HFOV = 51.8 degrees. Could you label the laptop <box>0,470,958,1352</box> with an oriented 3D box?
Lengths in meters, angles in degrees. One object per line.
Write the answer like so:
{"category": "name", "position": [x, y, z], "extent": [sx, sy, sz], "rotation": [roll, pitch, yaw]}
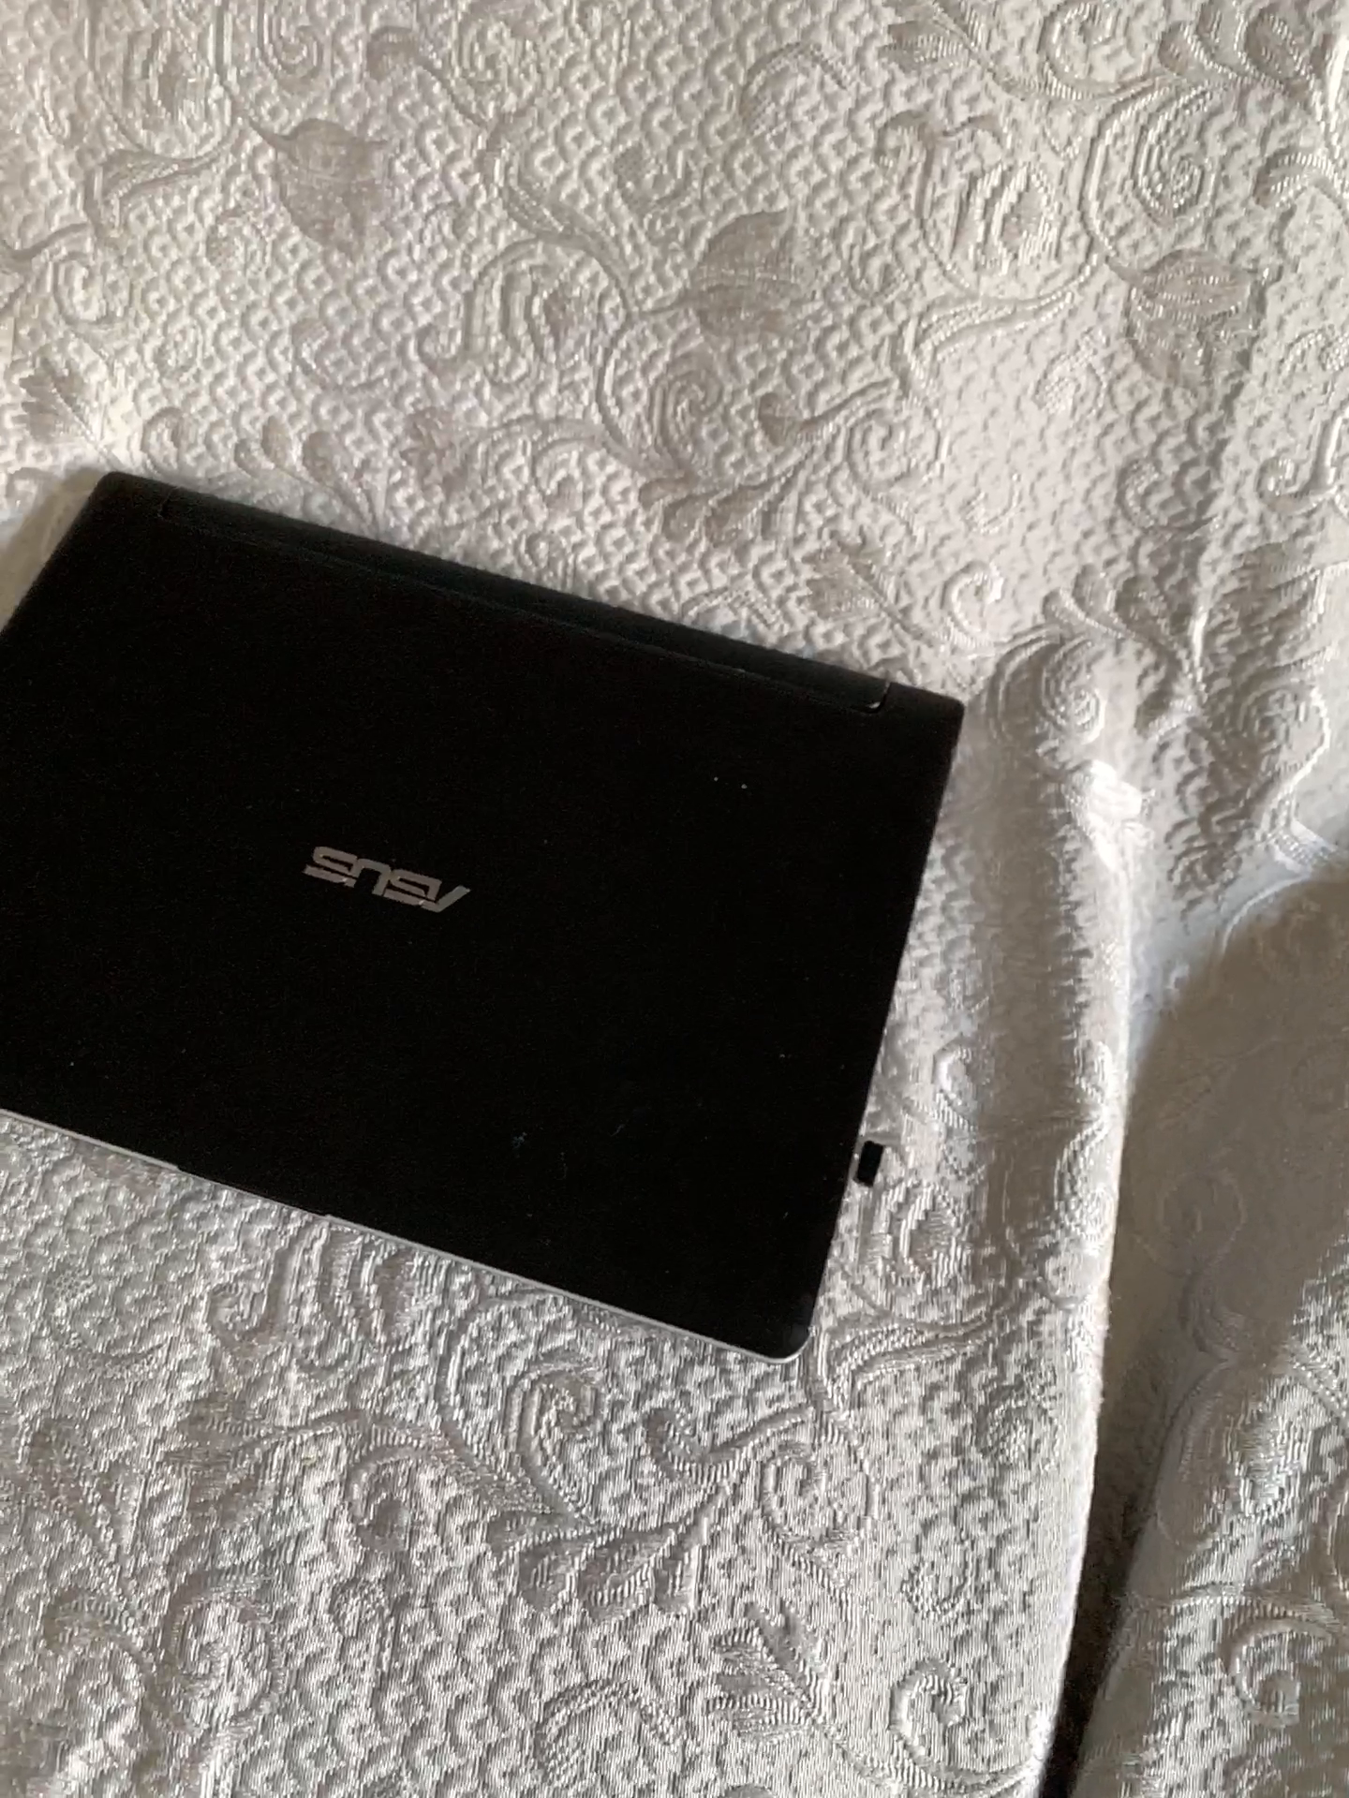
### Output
{"category": "laptop", "position": [-0.092, -0.015, 0.465], "extent": [0.334, 0.001, 0.232], "rotation": [17, 65, 5]}
